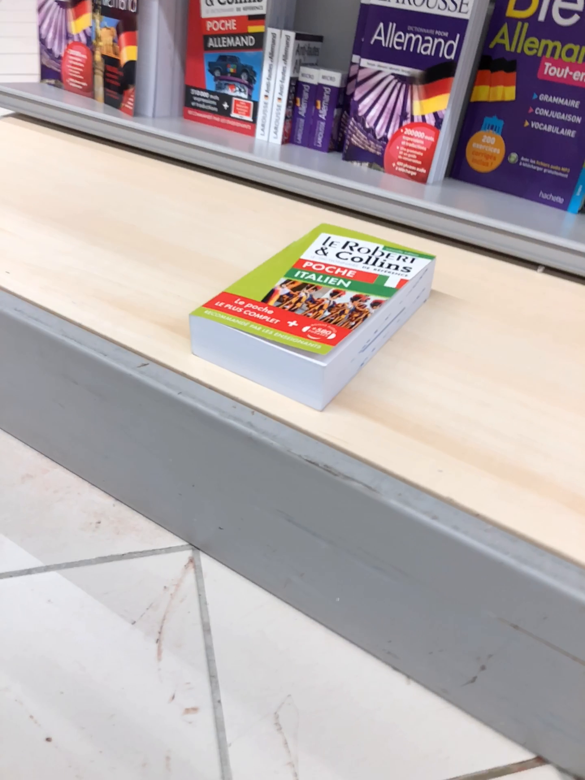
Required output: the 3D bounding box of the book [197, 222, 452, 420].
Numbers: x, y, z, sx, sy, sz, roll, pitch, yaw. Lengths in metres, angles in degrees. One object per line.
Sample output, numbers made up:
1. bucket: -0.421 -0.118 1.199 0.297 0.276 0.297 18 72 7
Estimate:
1. book: 0.030 -0.062 0.474 0.110 0.040 0.176 23 42 23
